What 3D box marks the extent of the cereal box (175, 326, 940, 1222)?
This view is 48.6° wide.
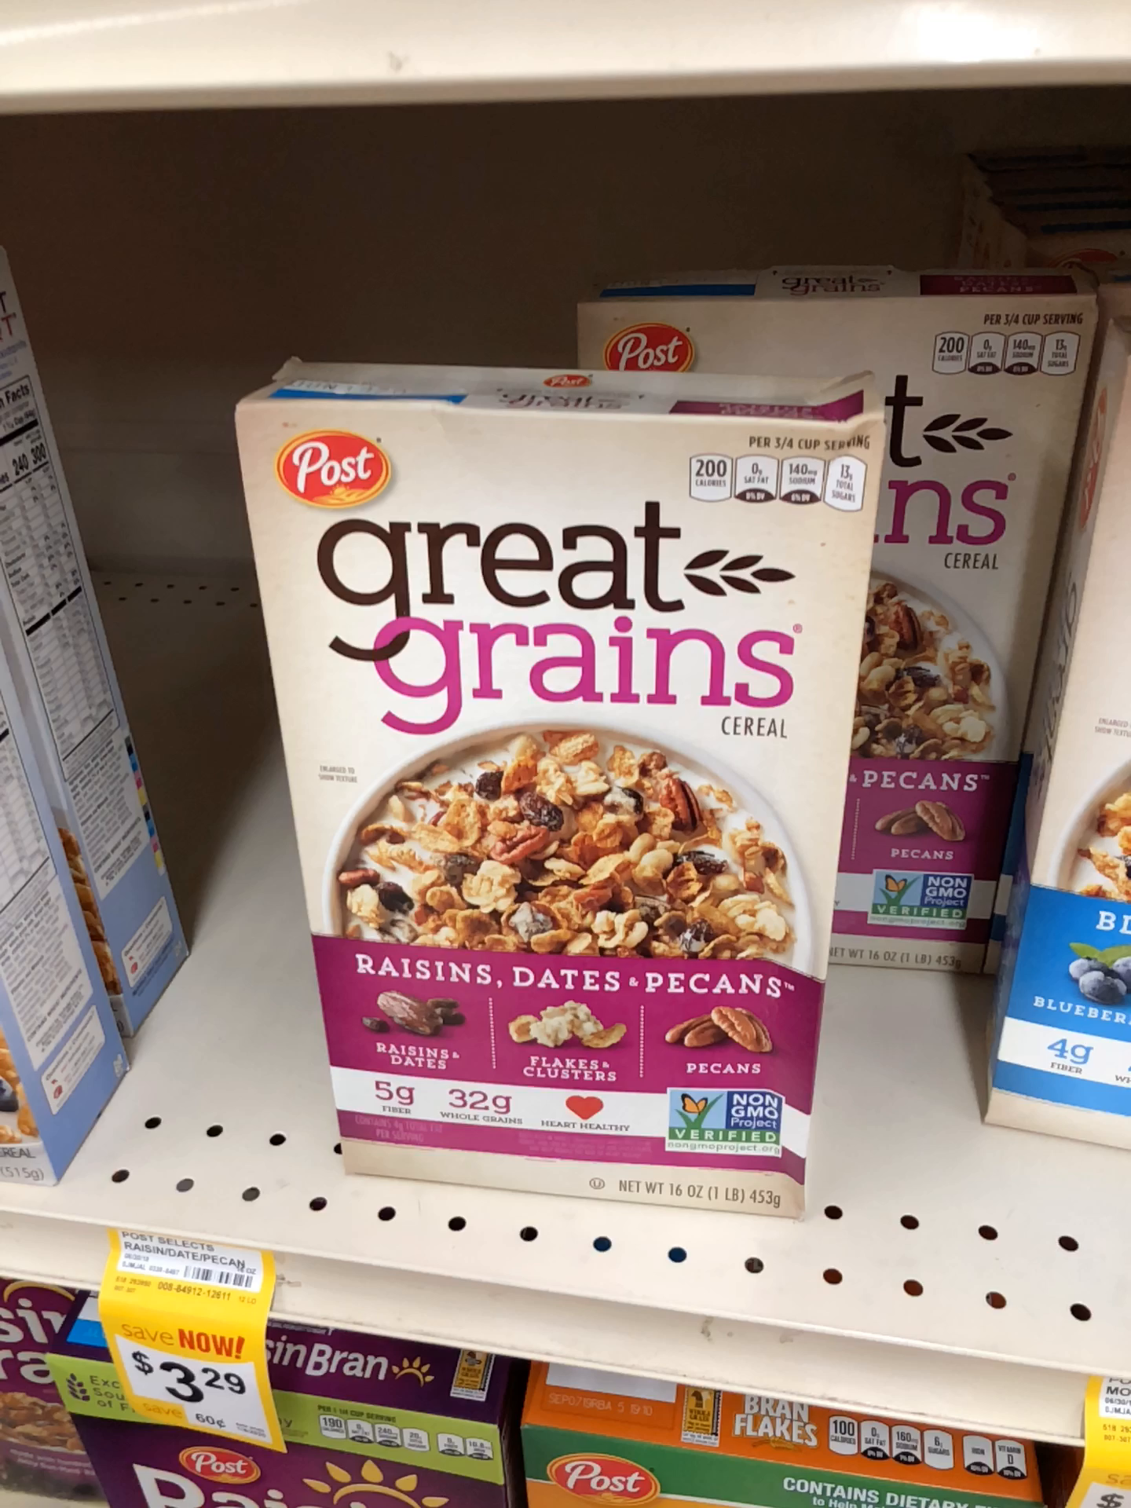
[{"bbox_3d":[0.002,0.020,0.367,0.170,0.269,0.050,3,32,8],"label":"cereal box"}]
